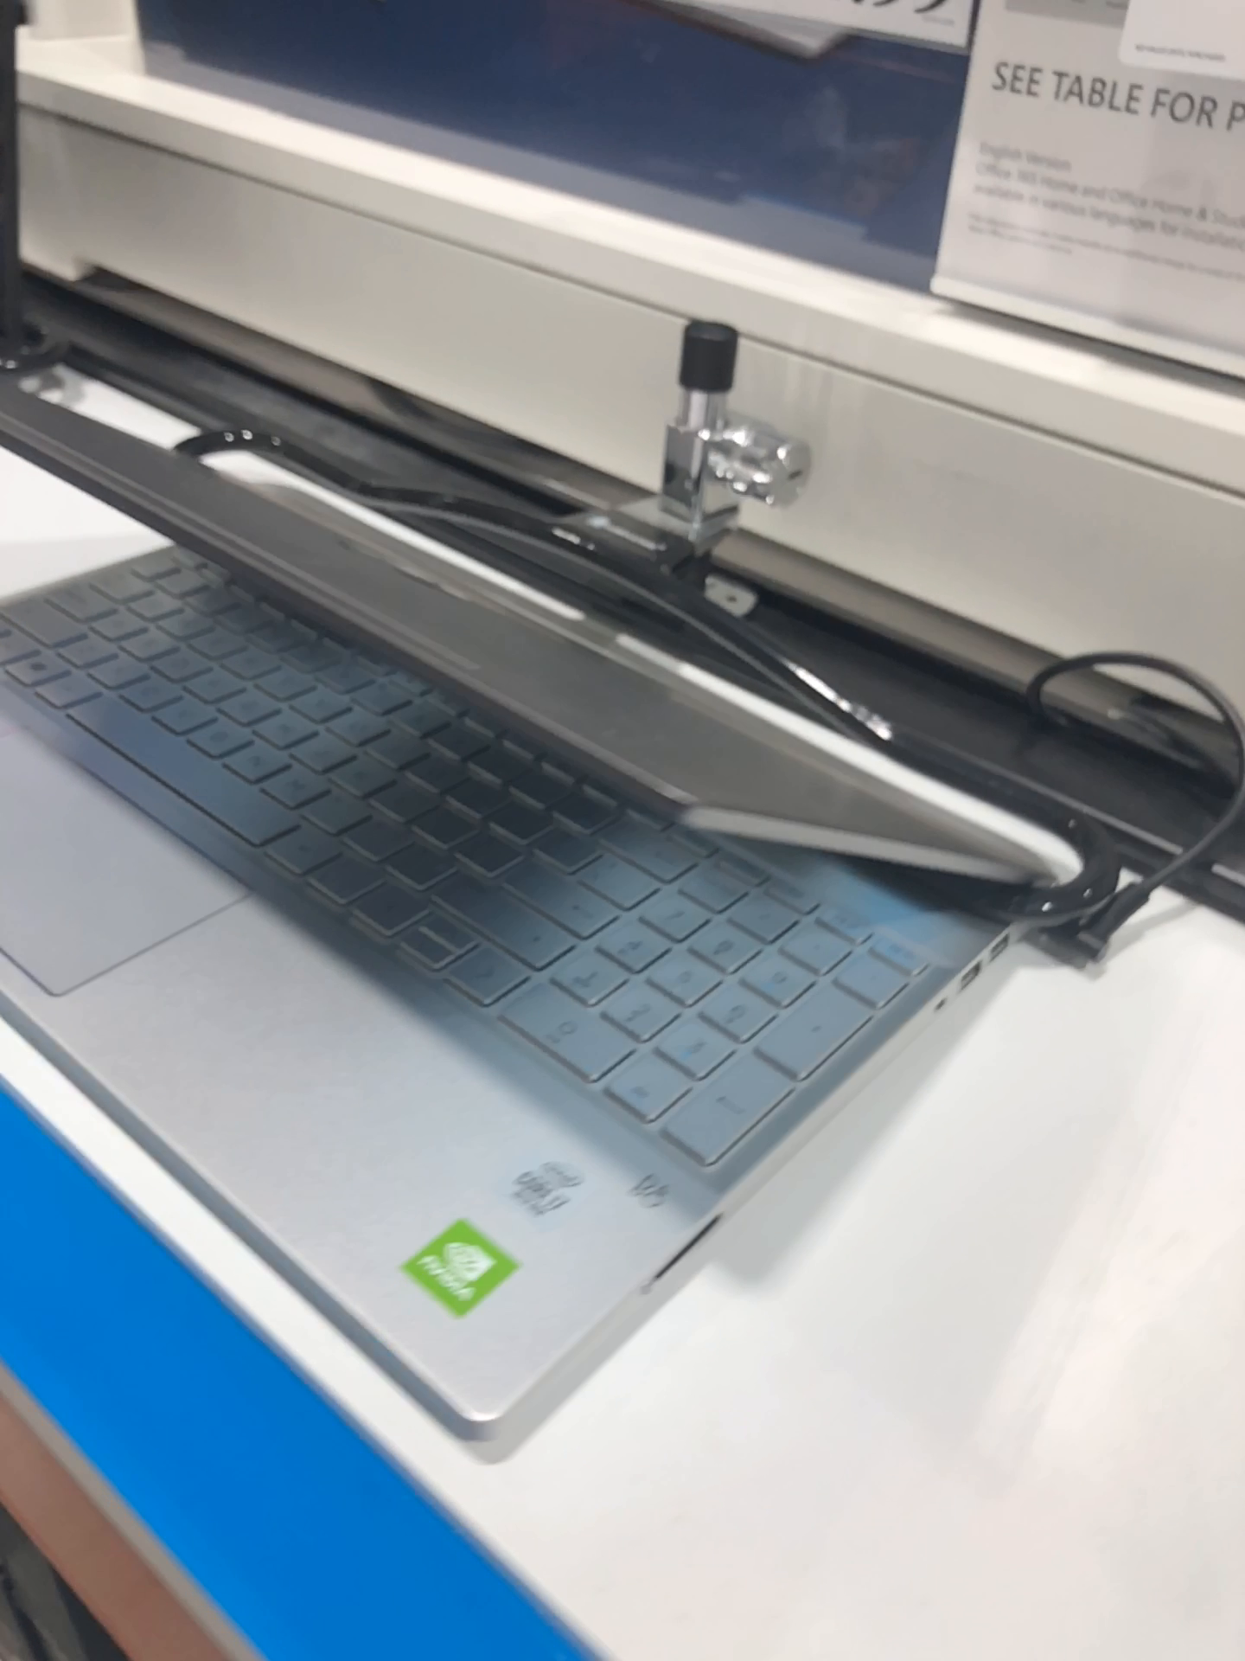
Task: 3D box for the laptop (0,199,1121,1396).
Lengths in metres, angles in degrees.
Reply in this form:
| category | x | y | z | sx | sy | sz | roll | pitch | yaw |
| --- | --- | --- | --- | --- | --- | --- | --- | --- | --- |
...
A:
| category | x | y | z | sx | sy | sz | roll | pitch | yaw |
| --- | --- | --- | --- | --- | --- | --- | --- | --- | --- |
| laptop | -0.085 | -0.061 | 0.386 | 0.348 | 0.124 | 0.216 | 30 | 42 | 30 |
